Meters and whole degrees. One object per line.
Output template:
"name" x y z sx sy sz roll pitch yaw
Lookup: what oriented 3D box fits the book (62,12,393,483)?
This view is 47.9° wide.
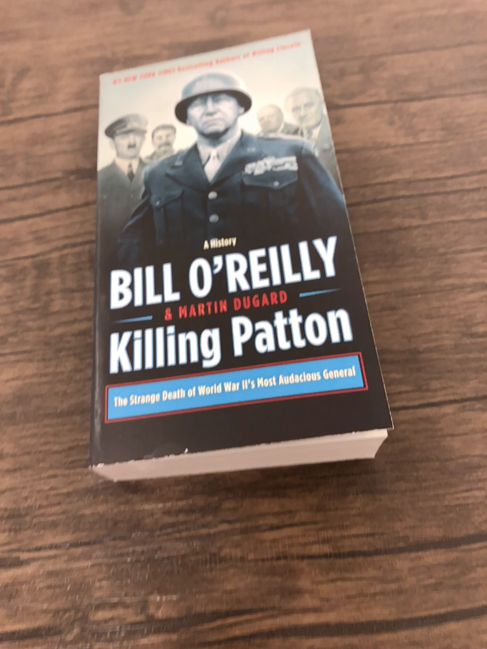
"book" -0.012 -0.037 0.226 0.105 0.040 0.182 -9 65 7
